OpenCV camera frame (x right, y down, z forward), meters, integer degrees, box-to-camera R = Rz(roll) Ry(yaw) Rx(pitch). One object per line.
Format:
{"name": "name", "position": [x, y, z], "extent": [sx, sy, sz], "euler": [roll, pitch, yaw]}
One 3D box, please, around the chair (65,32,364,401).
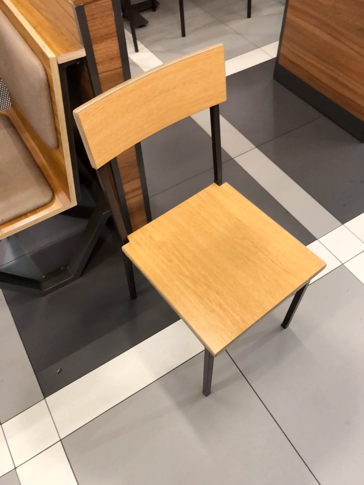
{"name": "chair", "position": [0.088, 0.000, 1.107], "extent": [0.431, 0.846, 0.461], "euler": [-34, 60, -21]}
